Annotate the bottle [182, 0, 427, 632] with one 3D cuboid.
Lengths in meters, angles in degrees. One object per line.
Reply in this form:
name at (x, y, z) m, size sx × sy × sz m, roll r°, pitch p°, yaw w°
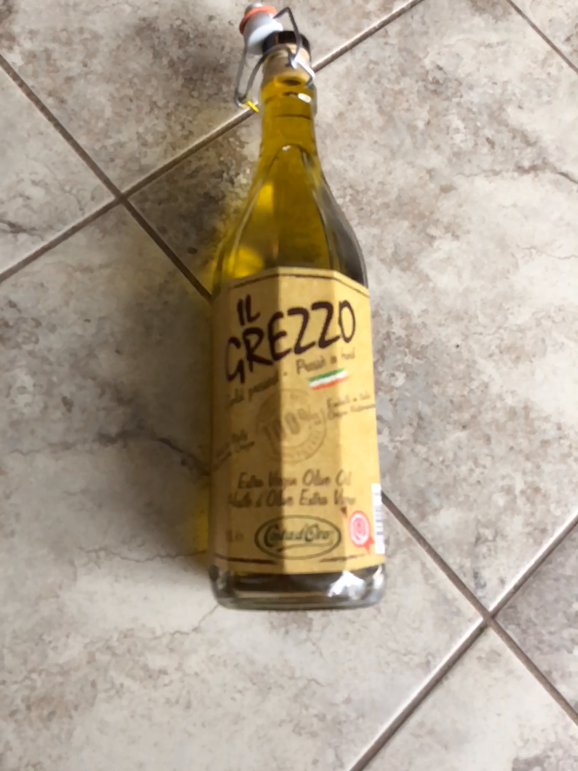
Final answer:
bottle at (-0.001, -0.066, 0.326) m, size 0.090 × 0.100 × 0.350 m, roll 3°, pitch 74°, yaw -10°
